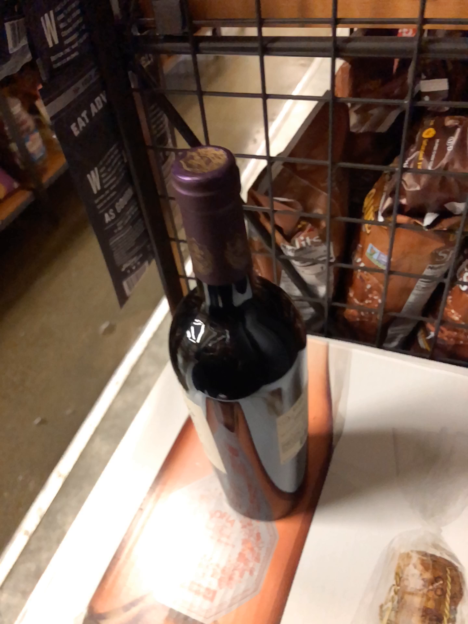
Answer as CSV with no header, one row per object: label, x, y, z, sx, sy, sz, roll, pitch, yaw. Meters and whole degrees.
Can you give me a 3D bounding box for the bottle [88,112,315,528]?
bottle,0.006,0.035,0.324,0.085,0.290,0.073,2,46,10
